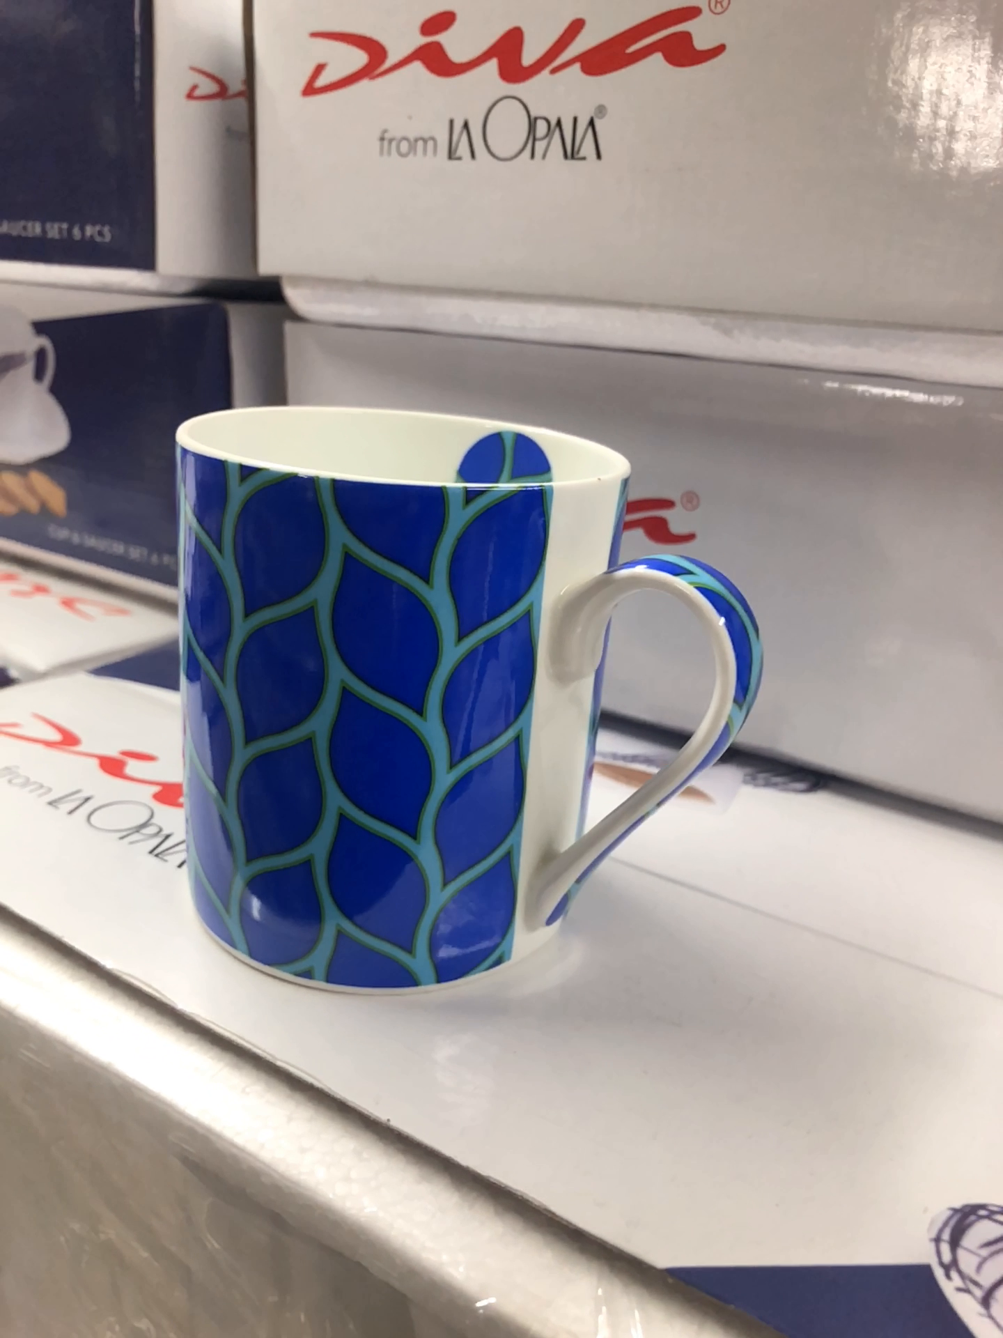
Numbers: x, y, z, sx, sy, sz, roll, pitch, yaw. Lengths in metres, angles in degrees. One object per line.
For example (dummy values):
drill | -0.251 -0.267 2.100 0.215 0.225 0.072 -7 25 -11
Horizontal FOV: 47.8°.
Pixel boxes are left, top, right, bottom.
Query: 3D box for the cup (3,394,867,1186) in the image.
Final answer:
cup | -0.012 0.006 0.204 0.120 0.090 0.080 15 22 28
